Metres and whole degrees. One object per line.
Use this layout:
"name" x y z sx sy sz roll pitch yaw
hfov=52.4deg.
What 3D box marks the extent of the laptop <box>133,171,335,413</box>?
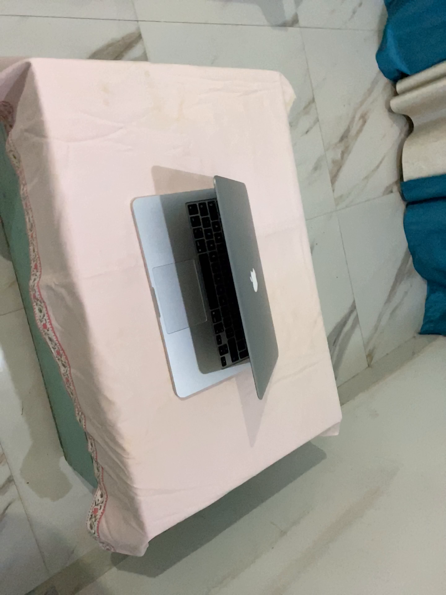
"laptop" 0.023 -0.016 0.687 0.209 0.138 0.296 -18 101 -34
